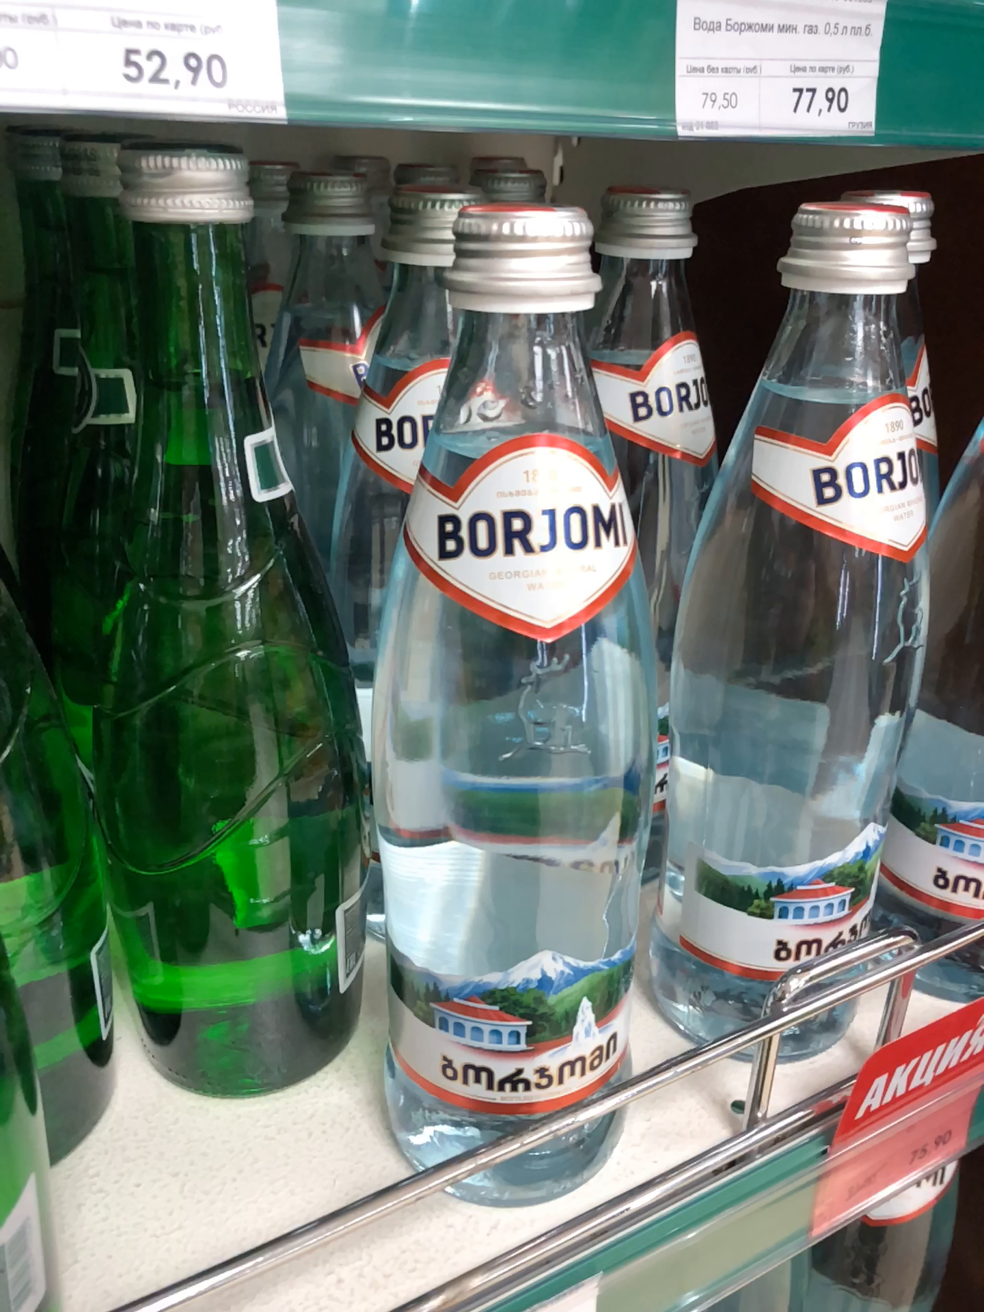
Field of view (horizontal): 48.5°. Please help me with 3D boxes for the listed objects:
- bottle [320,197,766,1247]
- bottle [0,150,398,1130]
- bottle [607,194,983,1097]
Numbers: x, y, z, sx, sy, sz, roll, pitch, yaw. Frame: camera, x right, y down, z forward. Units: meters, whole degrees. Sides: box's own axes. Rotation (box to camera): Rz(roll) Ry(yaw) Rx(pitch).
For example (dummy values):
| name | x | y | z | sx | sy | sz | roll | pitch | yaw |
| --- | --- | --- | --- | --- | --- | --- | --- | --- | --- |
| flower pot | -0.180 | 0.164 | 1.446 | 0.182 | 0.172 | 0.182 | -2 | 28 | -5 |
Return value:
| name | x | y | z | sx | sy | sz | roll | pitch | yaw |
| --- | --- | --- | --- | --- | --- | --- | --- | --- | --- |
| bottle | 0.005 | 0.020 | 0.259 | 0.068 | 0.236 | 0.063 | 1 | 23 | 0 |
| bottle | -0.073 | 0.000 | 0.285 | 0.069 | 0.237 | 0.065 | 1 | 23 | 0 |
| bottle | 0.084 | 0.000 | 0.304 | 0.069 | 0.236 | 0.065 | 1 | 23 | 0 |
